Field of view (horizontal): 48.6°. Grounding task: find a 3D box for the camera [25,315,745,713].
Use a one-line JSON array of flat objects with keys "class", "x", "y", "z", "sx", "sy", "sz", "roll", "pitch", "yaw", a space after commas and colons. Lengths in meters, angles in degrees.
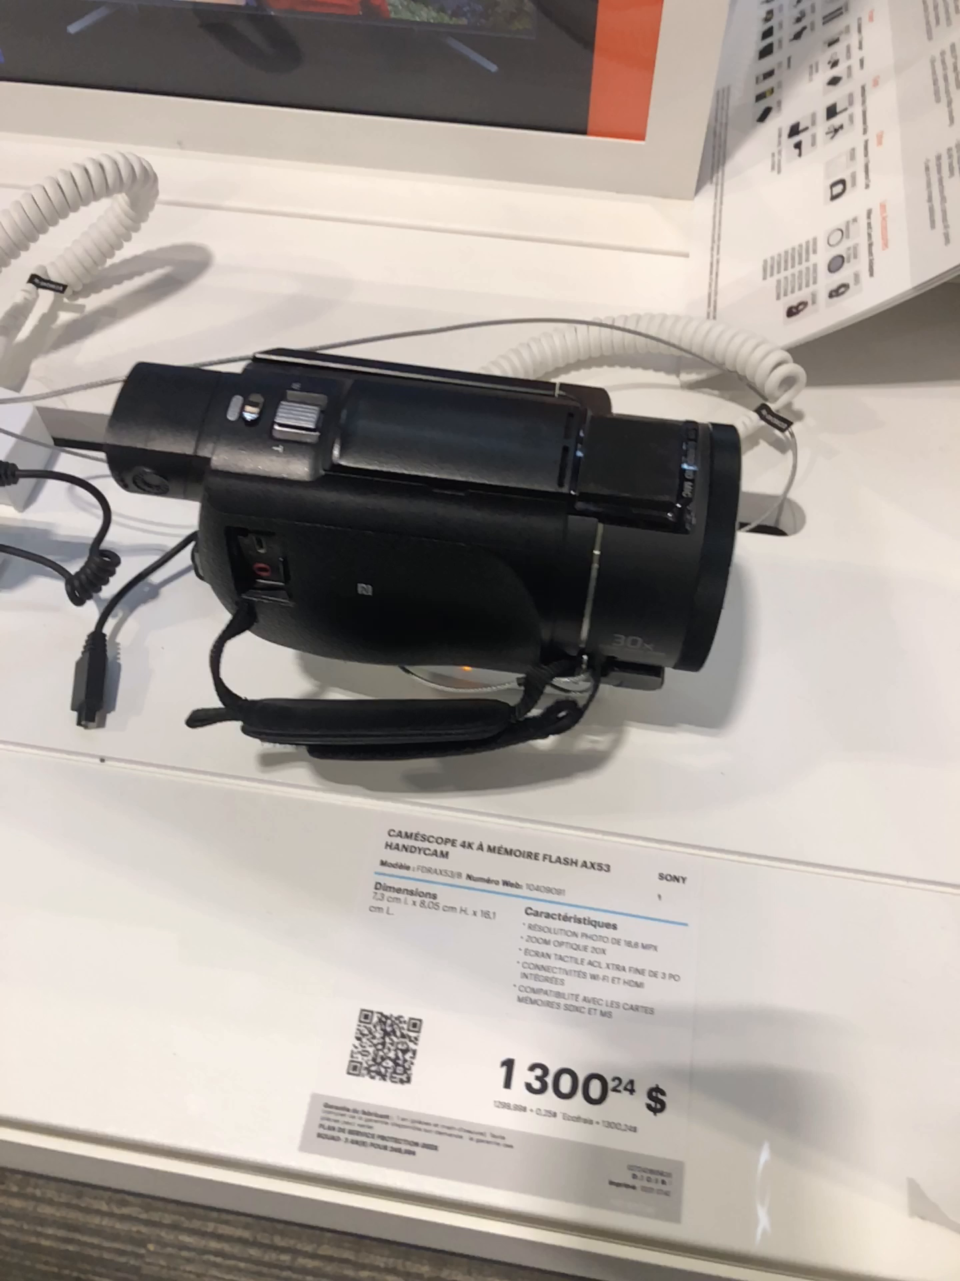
[{"class": "camera", "x": -0.020, "y": -0.034, "z": 0.289, "sx": 0.168, "sy": 0.066, "sz": 0.061, "roll": 7, "pitch": 57, "yaw": 6}]
